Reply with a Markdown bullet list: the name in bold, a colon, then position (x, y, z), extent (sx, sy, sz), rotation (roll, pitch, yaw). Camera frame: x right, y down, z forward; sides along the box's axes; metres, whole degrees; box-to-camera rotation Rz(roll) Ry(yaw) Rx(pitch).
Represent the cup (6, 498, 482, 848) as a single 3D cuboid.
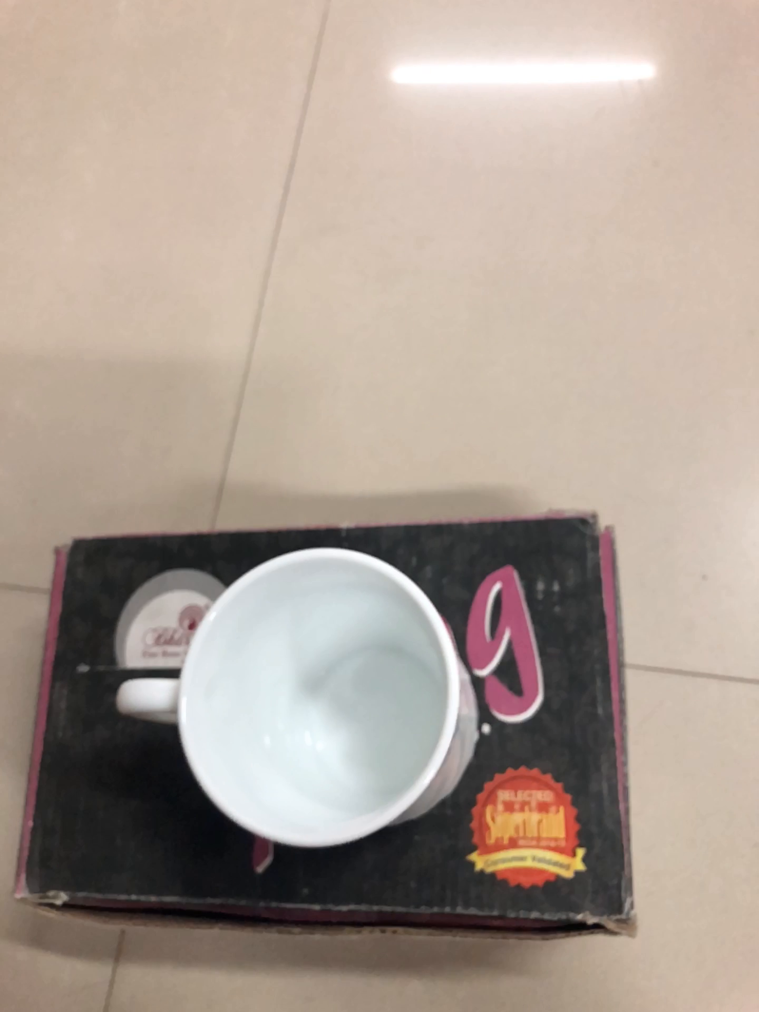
- **cup**: position (-0.031, 0.055, 0.276), extent (0.120, 0.090, 0.090), rotation (0, 71, 11)
